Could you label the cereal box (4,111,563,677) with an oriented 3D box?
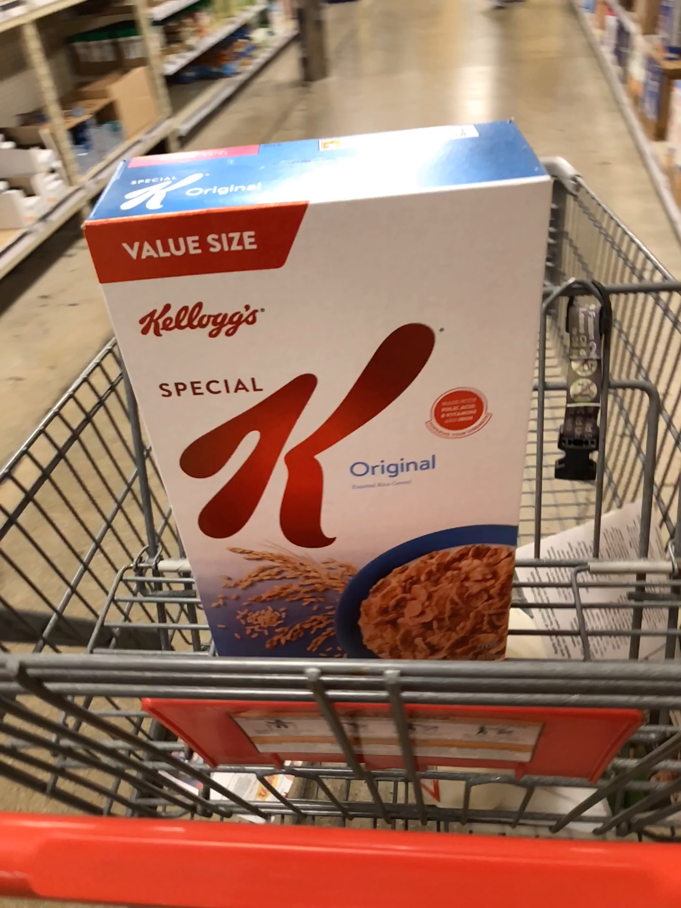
[{"bbox_3d":[-0.008,-0.004,0.441,0.230,0.329,0.080,-4,40,5],"label":"cereal box"}]
